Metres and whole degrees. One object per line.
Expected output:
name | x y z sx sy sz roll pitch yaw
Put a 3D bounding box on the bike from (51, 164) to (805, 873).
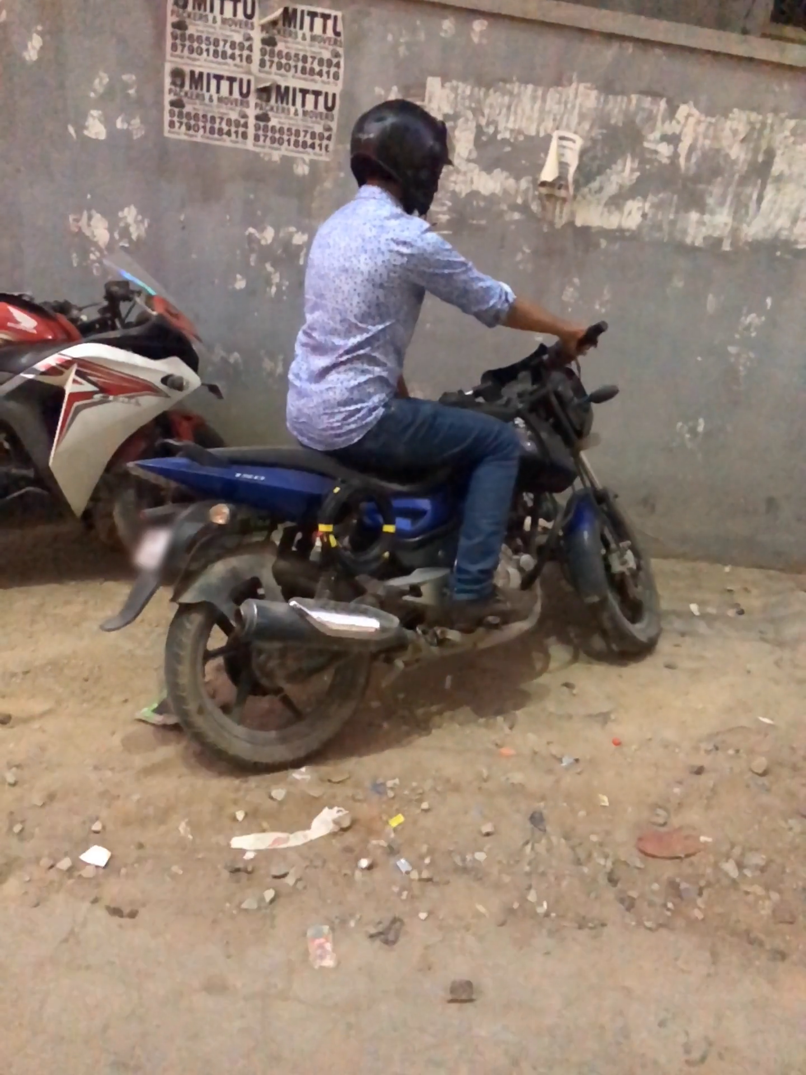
bike | 0.062 -0.234 2.438 1.507 1.113 1.094 -22 38 -35
